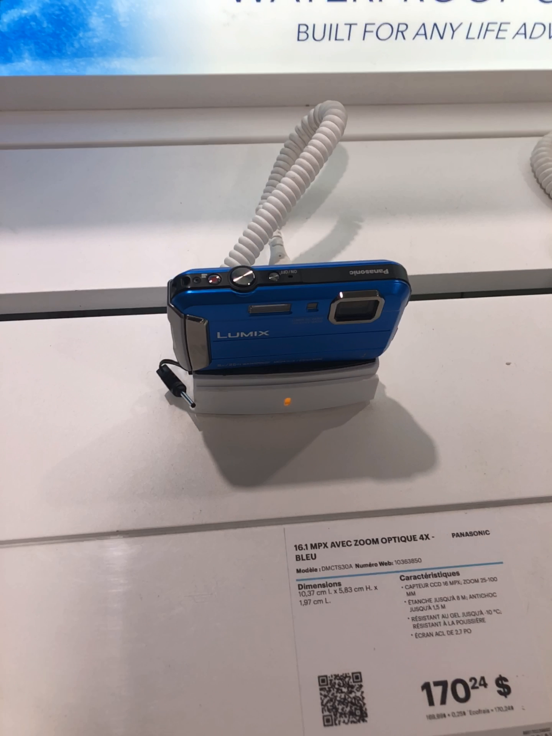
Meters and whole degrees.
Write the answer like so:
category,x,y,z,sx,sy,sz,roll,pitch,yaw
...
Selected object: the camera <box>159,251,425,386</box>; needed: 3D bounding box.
category,x,y,z,sx,sy,sz,roll,pitch,yaw
camera,0.005,-0.020,0.272,0.106,0.060,0.020,-4,56,-6
